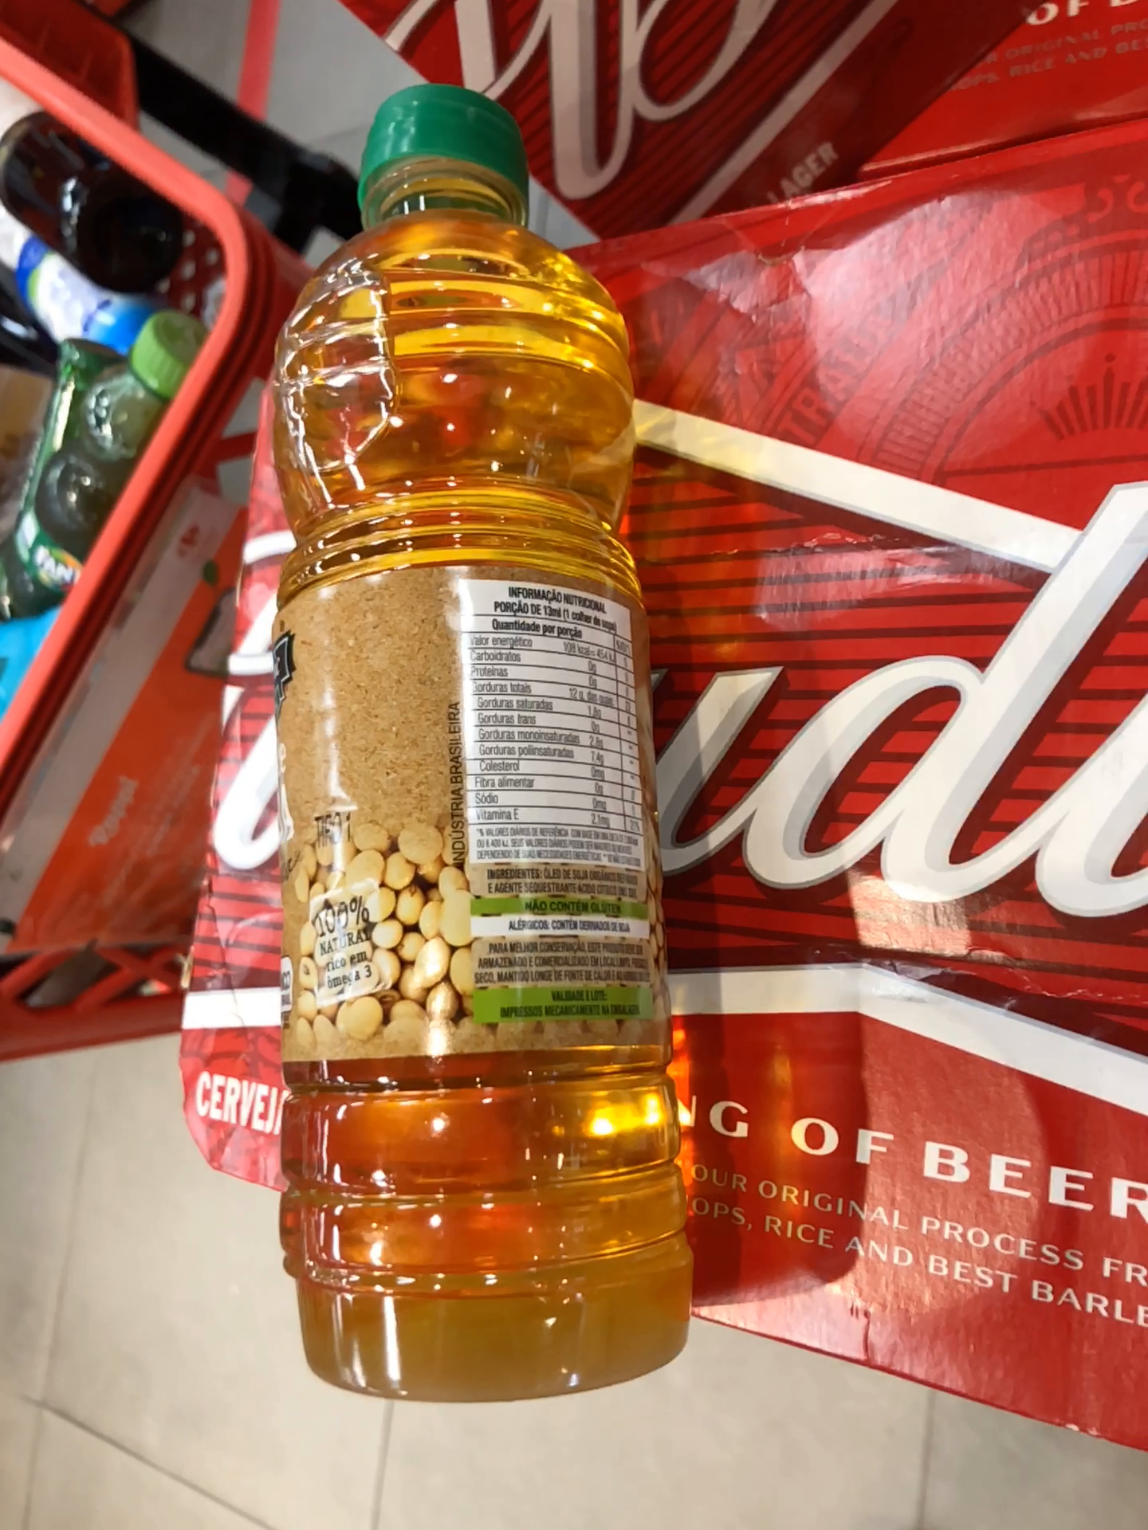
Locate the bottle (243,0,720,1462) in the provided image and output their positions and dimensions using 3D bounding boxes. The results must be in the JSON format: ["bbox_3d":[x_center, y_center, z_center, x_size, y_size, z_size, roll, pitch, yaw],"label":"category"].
[{"bbox_3d":[-0.018,-0.026,0.215,0.060,0.060,0.240,-1,79,-4],"label":"bottle"}]
